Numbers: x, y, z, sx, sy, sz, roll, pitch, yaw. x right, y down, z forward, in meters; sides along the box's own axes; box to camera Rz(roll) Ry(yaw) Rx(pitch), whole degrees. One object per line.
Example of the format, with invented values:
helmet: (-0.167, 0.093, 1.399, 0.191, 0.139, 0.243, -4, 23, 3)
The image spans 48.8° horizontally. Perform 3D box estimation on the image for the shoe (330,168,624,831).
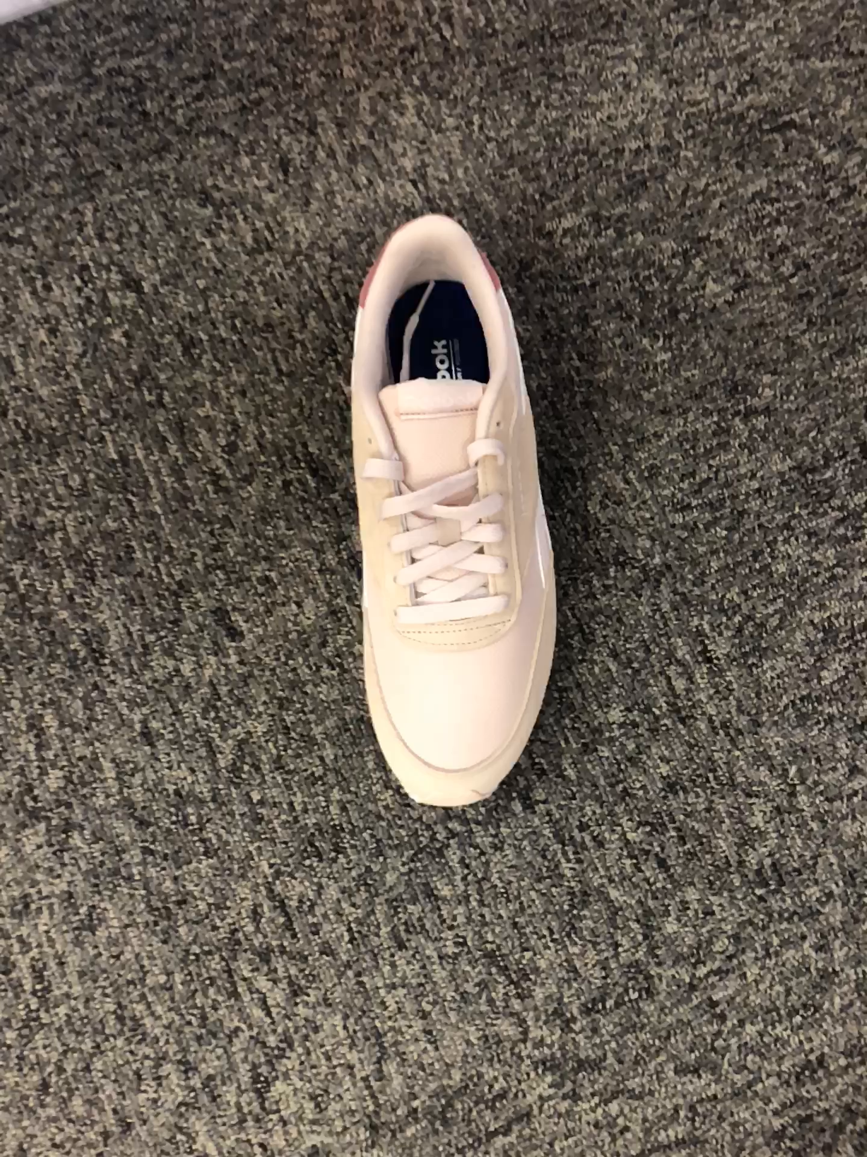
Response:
shoe: (0.013, -0.031, 0.437, 0.100, 0.110, 0.270, -3, 79, -2)
